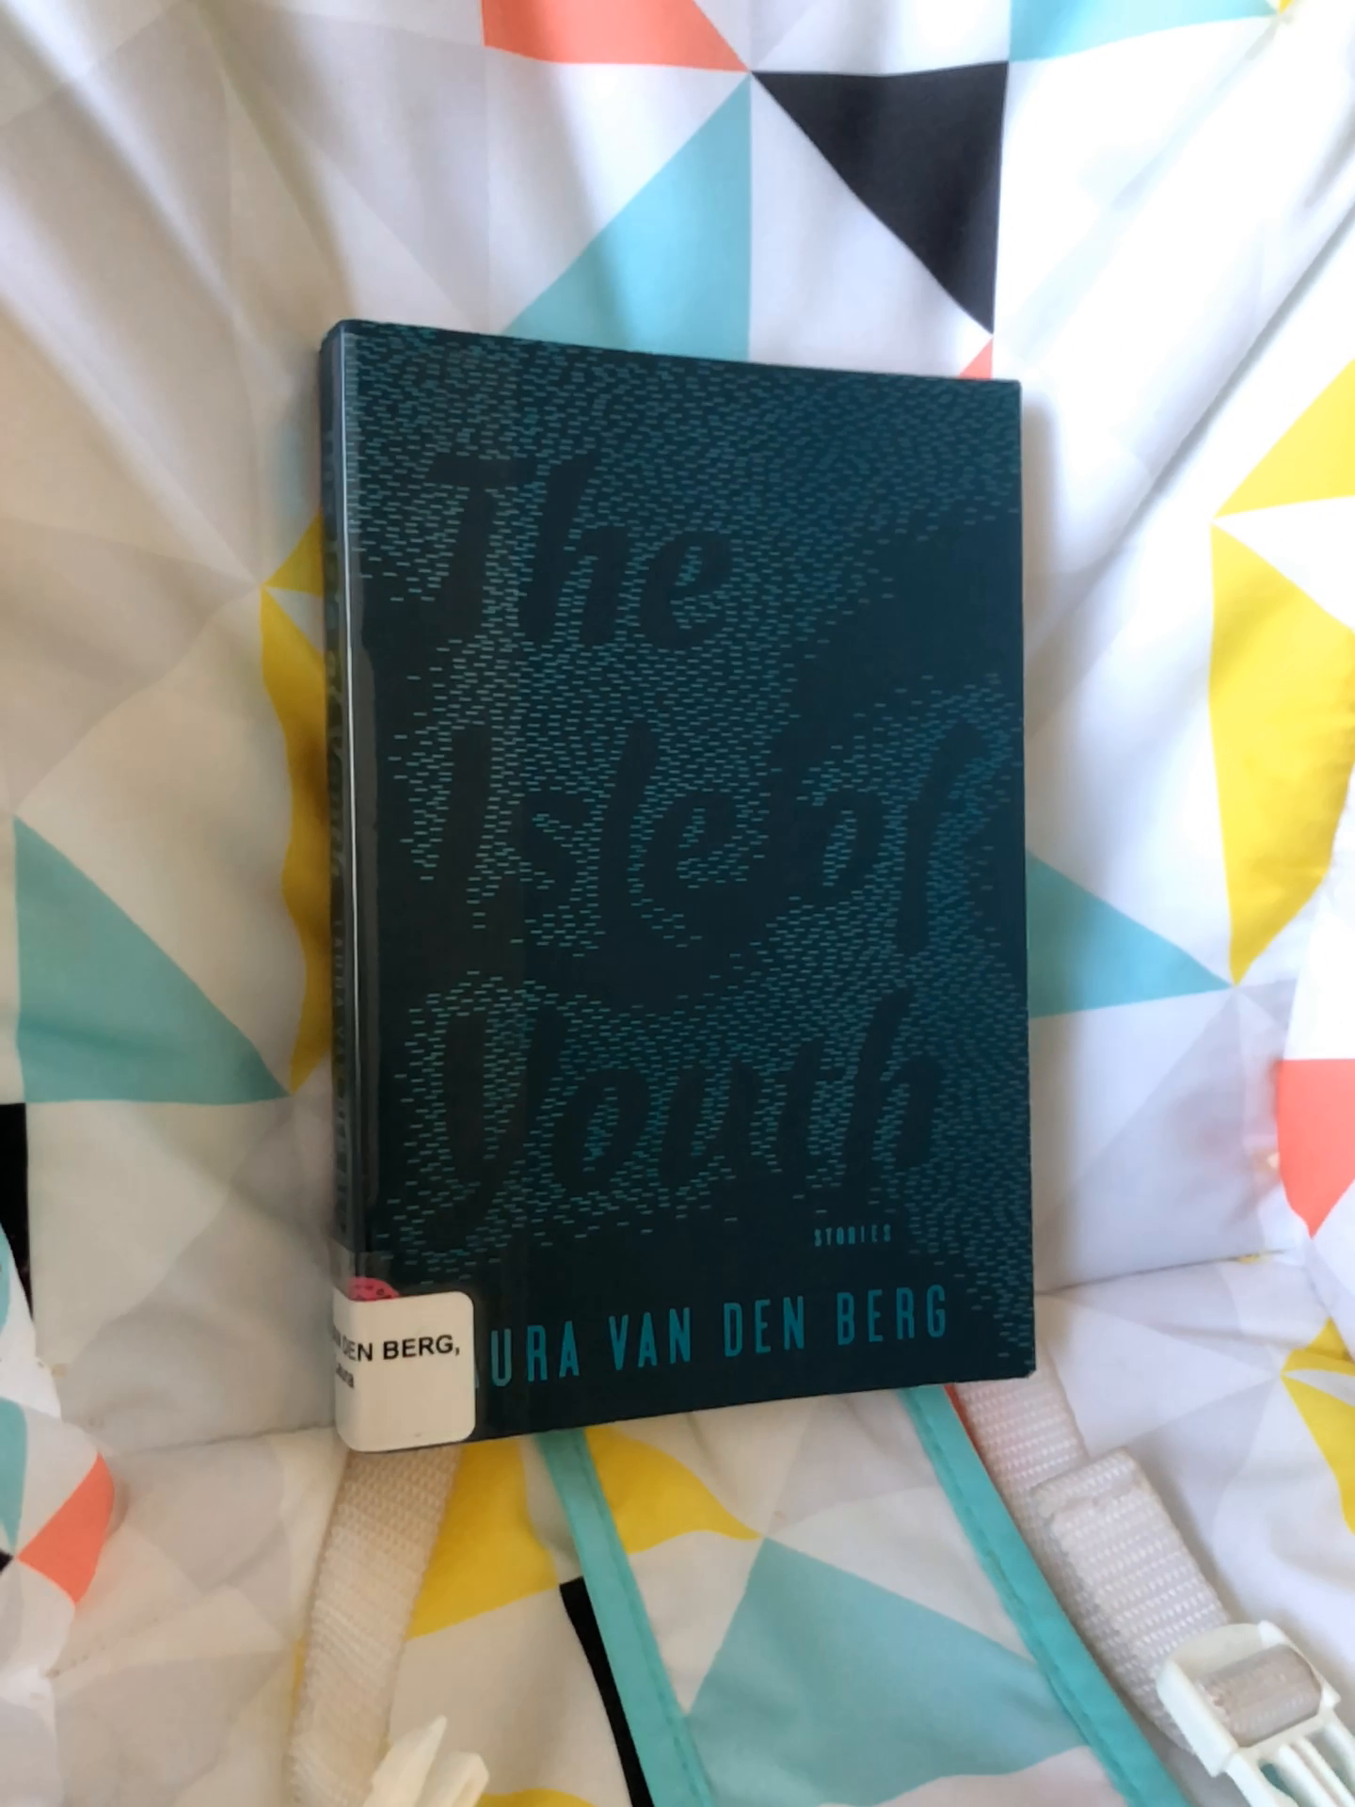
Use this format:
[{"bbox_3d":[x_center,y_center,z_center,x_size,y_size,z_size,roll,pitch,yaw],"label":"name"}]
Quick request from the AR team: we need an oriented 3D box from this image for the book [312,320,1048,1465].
[{"bbox_3d":[0.002,-0.003,0.271,0.124,0.032,0.180,-2,92,-17],"label":"book"}]
